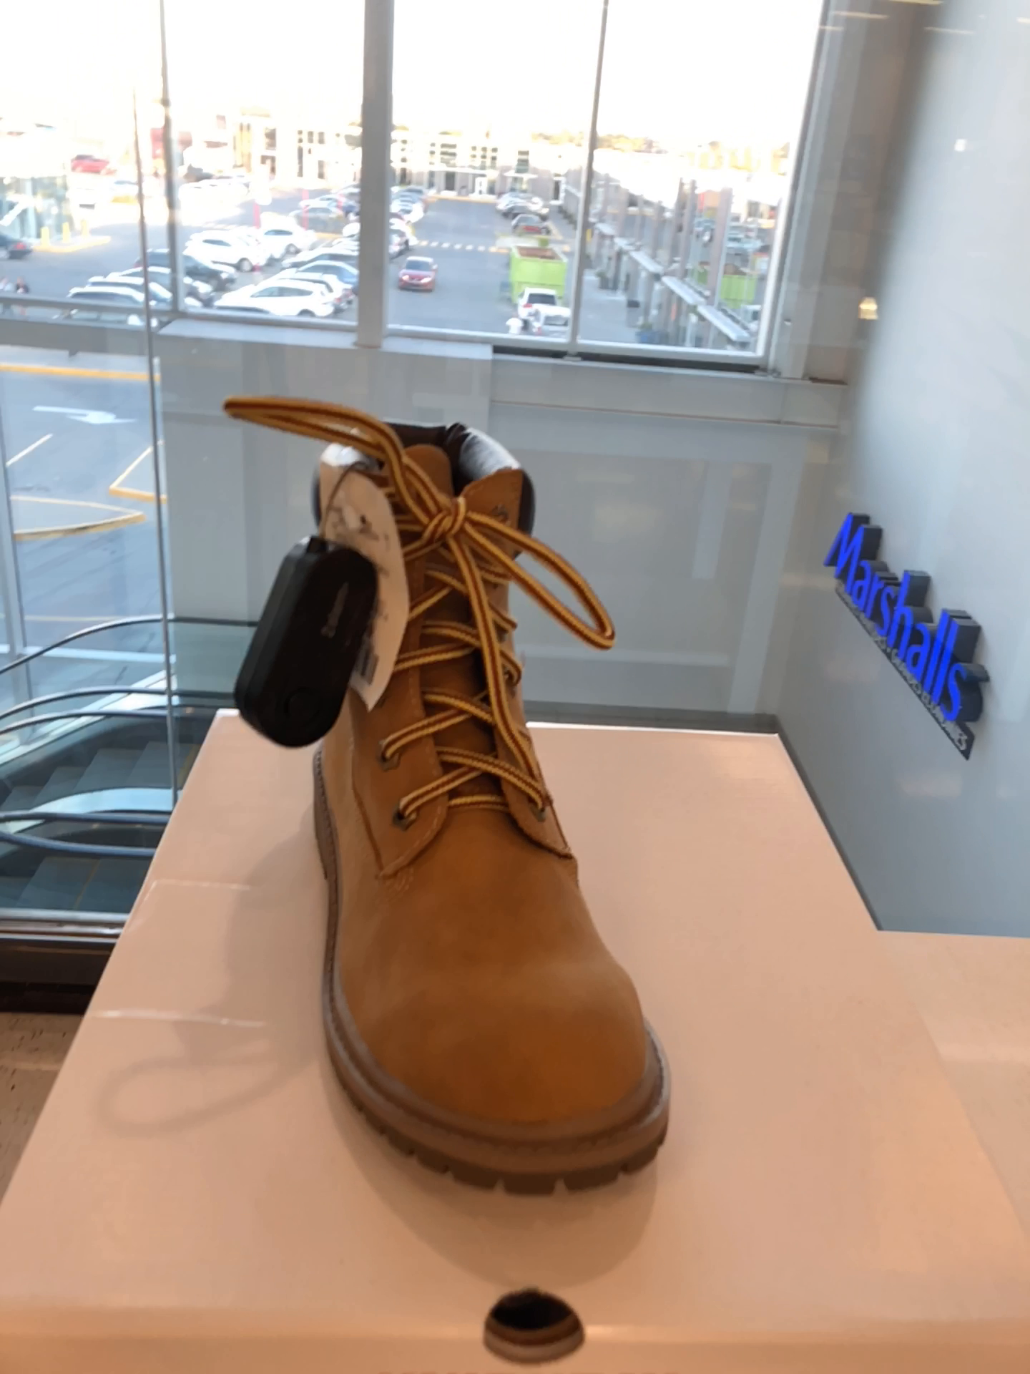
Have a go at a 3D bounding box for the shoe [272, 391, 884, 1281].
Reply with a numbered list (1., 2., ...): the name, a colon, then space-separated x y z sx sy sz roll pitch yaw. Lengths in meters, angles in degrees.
1. shoe: -0.012 0.017 0.365 0.107 0.169 0.242 -3 27 -17
